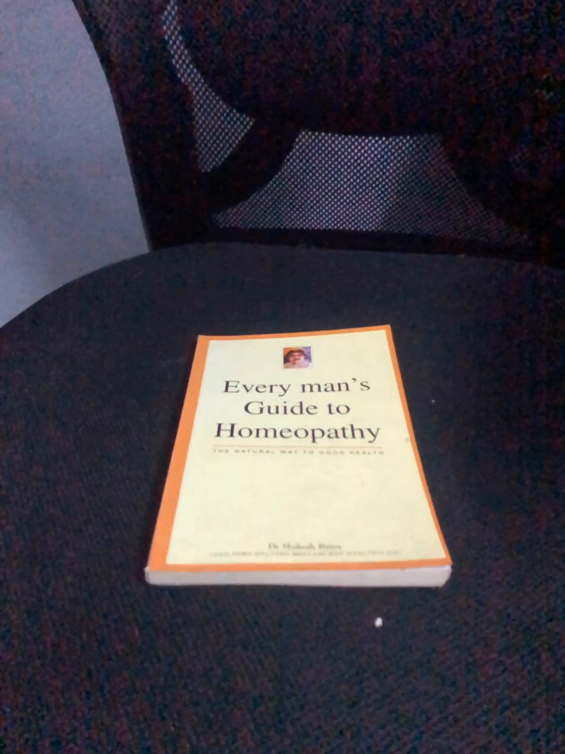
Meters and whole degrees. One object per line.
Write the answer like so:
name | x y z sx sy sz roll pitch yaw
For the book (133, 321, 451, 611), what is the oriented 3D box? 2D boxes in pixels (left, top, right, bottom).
book | 0.005 0.035 0.363 0.140 0.026 0.208 -2 36 2
